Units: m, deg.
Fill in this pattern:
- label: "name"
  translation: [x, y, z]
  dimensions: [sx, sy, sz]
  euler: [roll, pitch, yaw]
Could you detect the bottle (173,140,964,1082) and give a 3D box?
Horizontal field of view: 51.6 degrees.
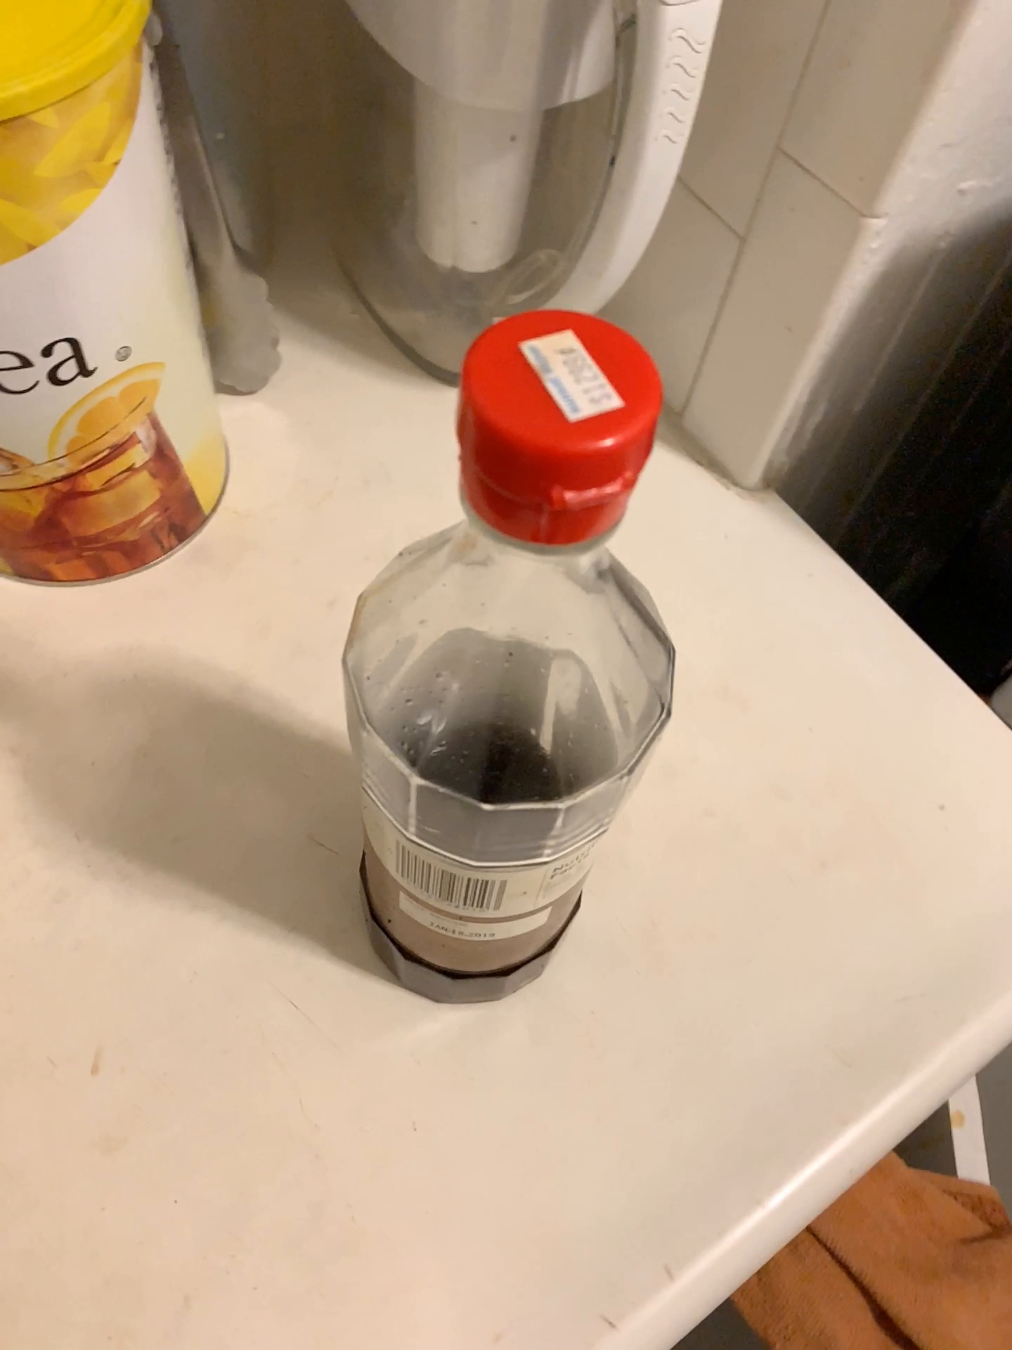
- label: "bottle"
  translation: [-0.002, 0.018, 0.278]
  dimensions: [0.090, 0.259, 0.090]
  euler: [3, 59, -5]
